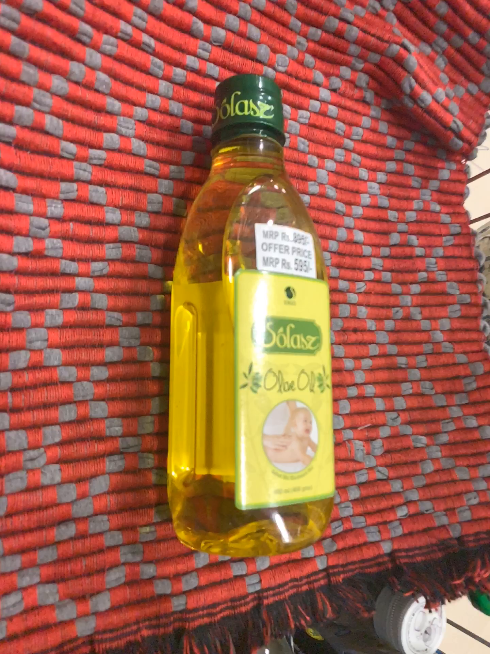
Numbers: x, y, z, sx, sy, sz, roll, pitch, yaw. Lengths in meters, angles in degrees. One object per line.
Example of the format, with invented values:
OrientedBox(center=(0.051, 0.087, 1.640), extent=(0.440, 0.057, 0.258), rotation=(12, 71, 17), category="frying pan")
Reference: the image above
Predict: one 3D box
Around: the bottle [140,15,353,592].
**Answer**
OrientedBox(center=(-0.002, -0.012, 0.232), extent=(0.070, 0.060, 0.220), rotation=(4, 79, -29), category="bottle")
